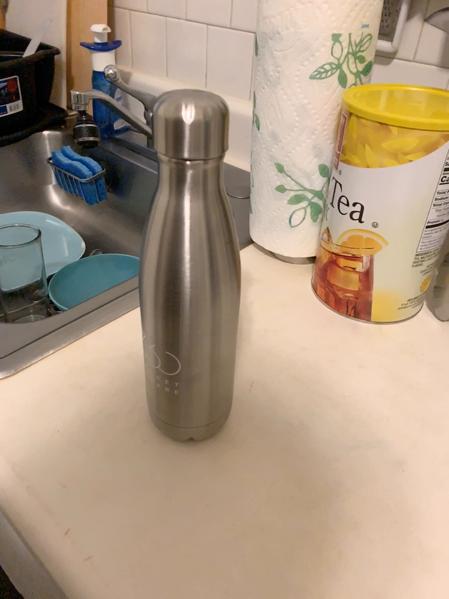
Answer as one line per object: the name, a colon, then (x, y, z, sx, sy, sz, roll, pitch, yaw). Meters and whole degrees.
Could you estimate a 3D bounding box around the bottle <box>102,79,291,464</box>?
bottle: (-0.021, -0.005, 0.315, 0.070, 0.249, 0.070, 2, 37, -2)
